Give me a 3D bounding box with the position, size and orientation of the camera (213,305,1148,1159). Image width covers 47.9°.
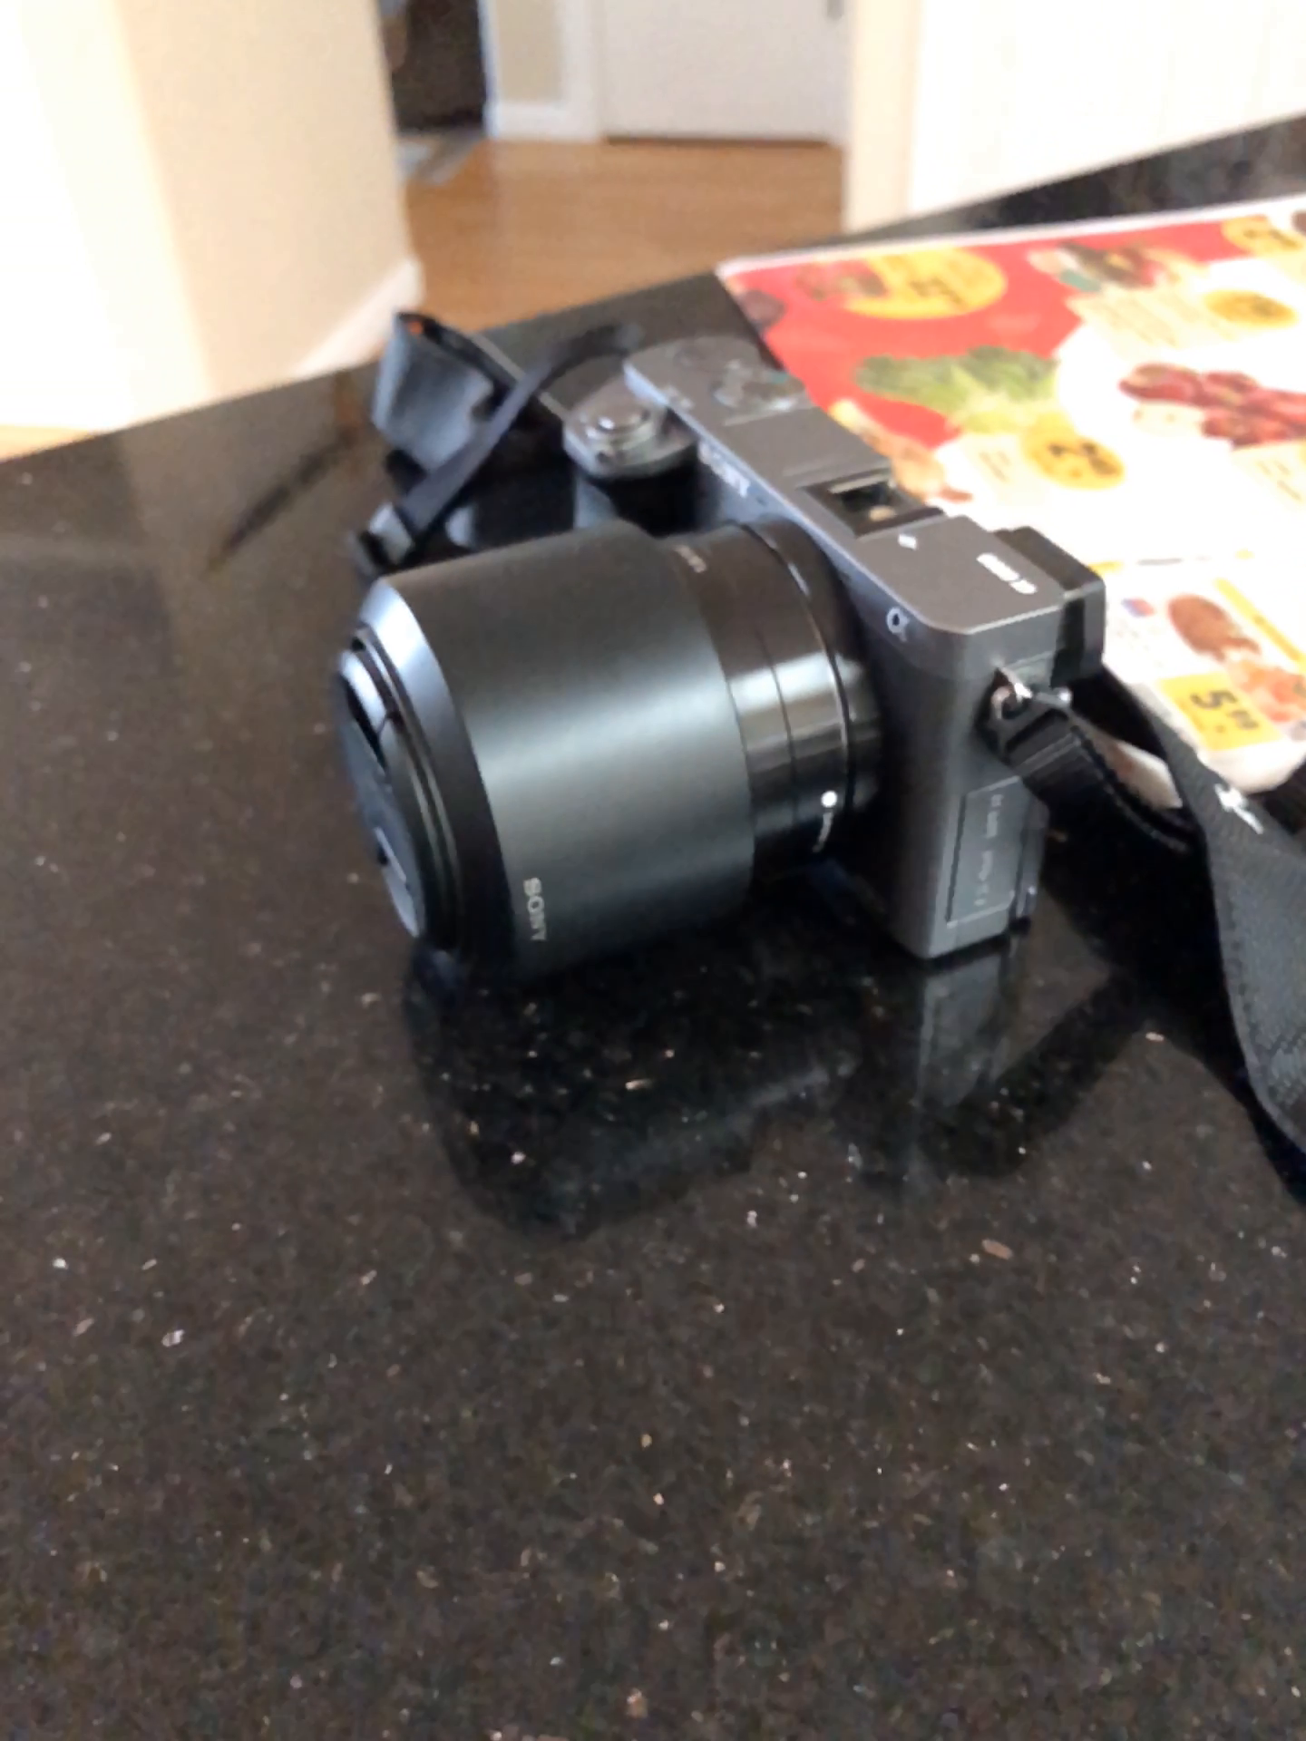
[{"bbox_3d":[-0.003,-0.036,0.266,0.110,0.070,0.131,-19,43,-17],"label":"camera"}]
